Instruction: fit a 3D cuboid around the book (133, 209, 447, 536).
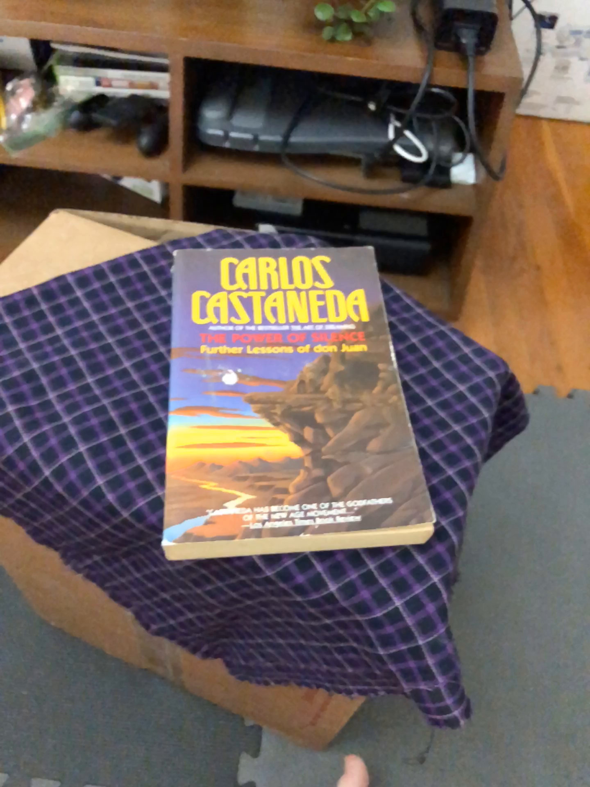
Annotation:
[{"bbox_3d":[-0.009,-0.027,0.384,0.150,0.020,0.221,-1,55,-5],"label":"book"}]
